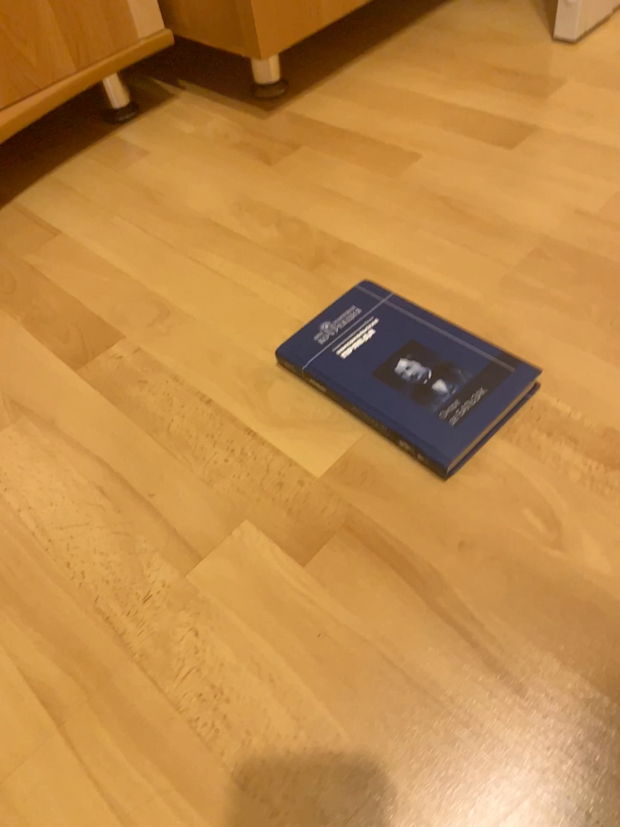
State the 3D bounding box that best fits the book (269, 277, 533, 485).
[{"bbox_3d":[0.078,-0.041,0.582,0.128,0.030,0.201,-41,57,-21],"label":"book"}]
